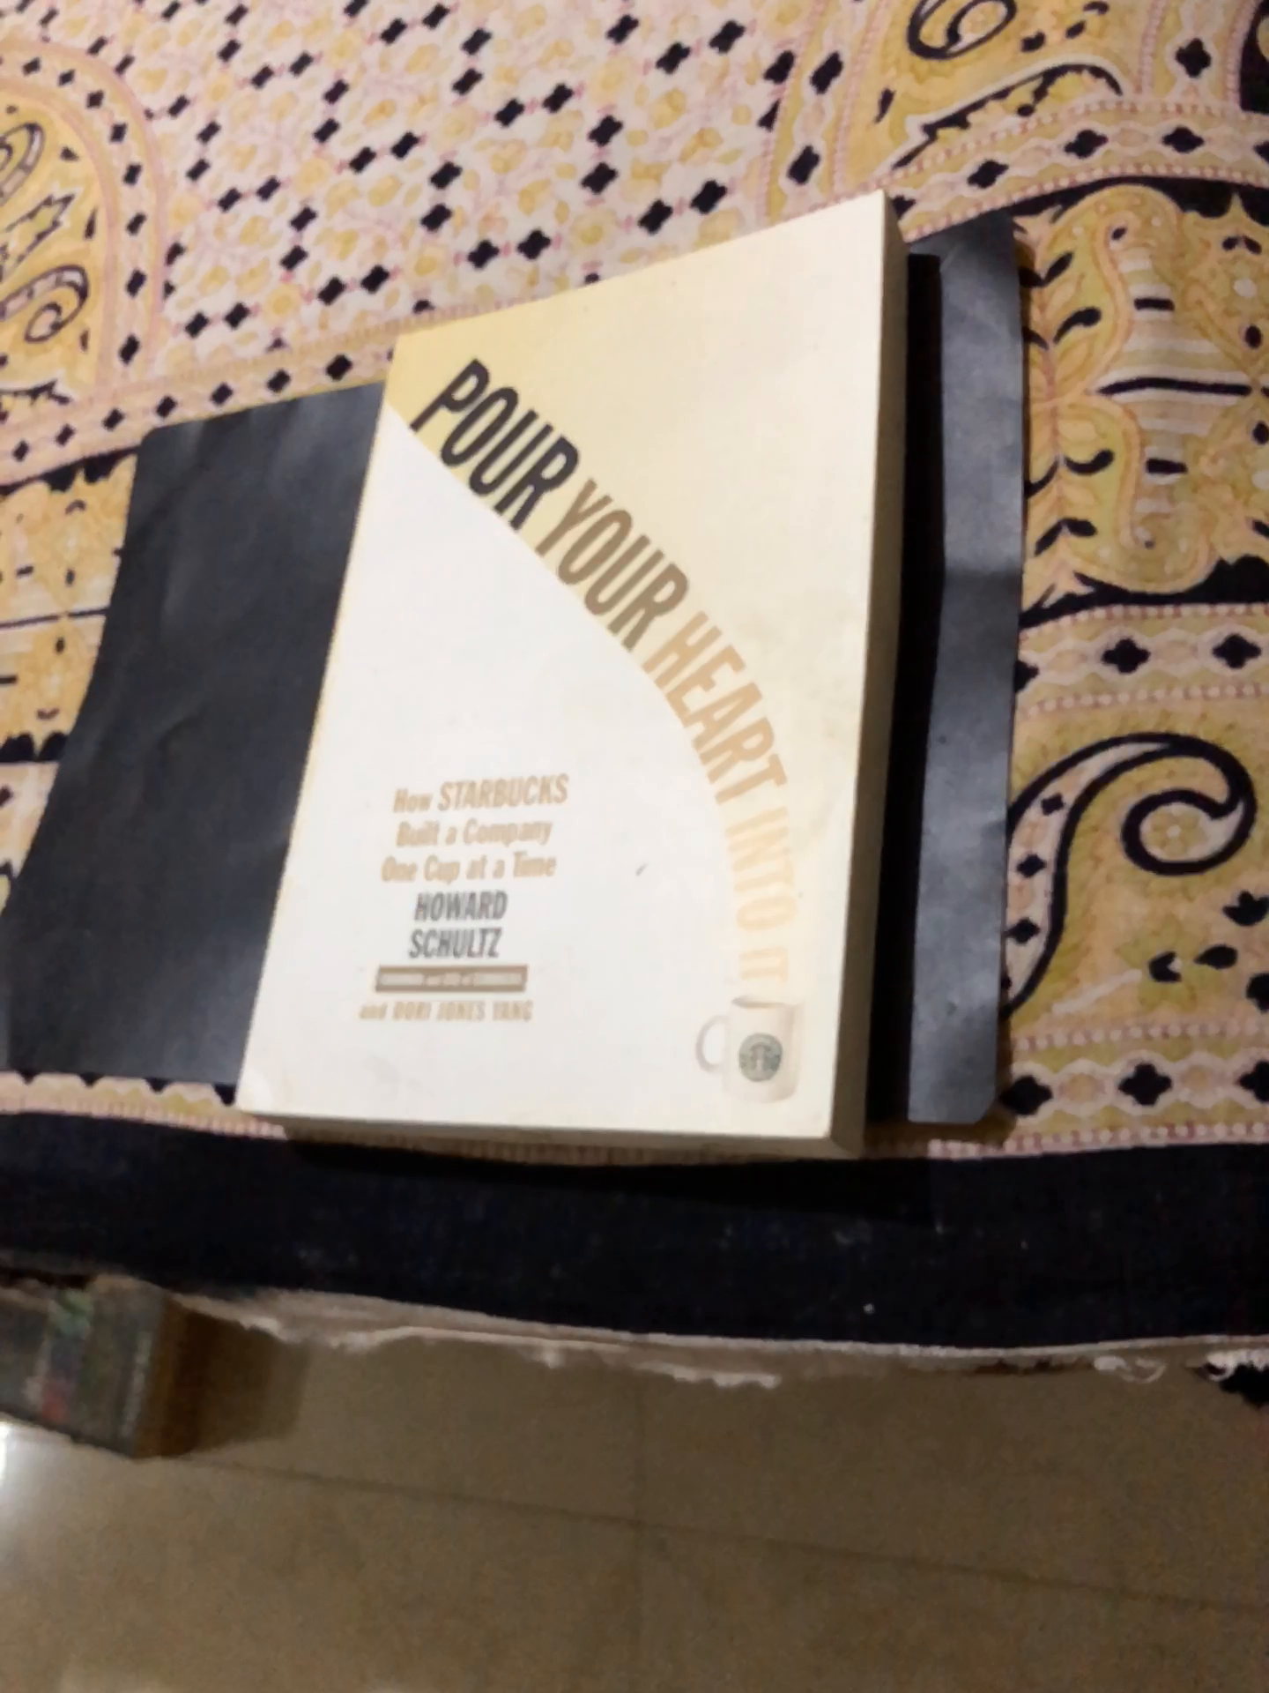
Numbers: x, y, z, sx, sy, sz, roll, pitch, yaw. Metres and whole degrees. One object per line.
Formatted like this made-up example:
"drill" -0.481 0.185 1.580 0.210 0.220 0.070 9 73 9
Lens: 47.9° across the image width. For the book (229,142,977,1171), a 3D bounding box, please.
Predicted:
"book" -0.002 -0.046 0.367 0.160 0.050 0.240 -3 69 27
